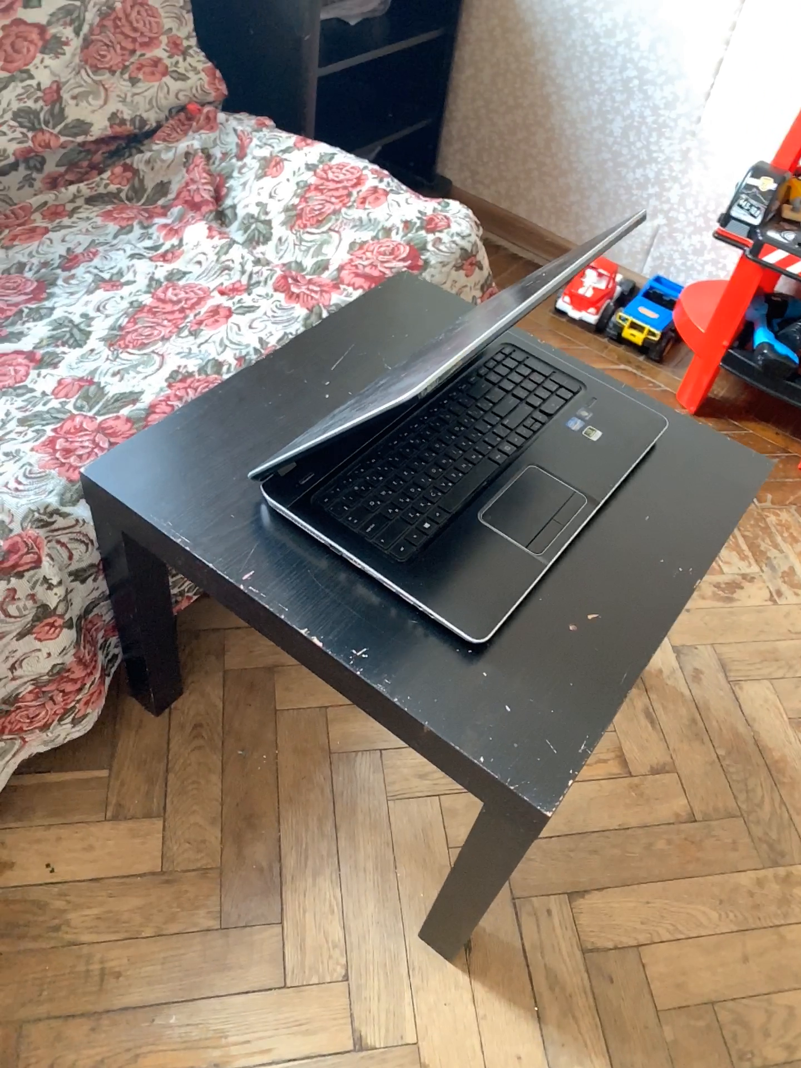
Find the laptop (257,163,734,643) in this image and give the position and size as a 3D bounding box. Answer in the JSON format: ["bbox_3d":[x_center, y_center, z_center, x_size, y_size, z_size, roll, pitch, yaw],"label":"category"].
[{"bbox_3d":[0.095,-0.152,0.793,0.257,0.201,0.406,33,51,18],"label":"laptop"}]
